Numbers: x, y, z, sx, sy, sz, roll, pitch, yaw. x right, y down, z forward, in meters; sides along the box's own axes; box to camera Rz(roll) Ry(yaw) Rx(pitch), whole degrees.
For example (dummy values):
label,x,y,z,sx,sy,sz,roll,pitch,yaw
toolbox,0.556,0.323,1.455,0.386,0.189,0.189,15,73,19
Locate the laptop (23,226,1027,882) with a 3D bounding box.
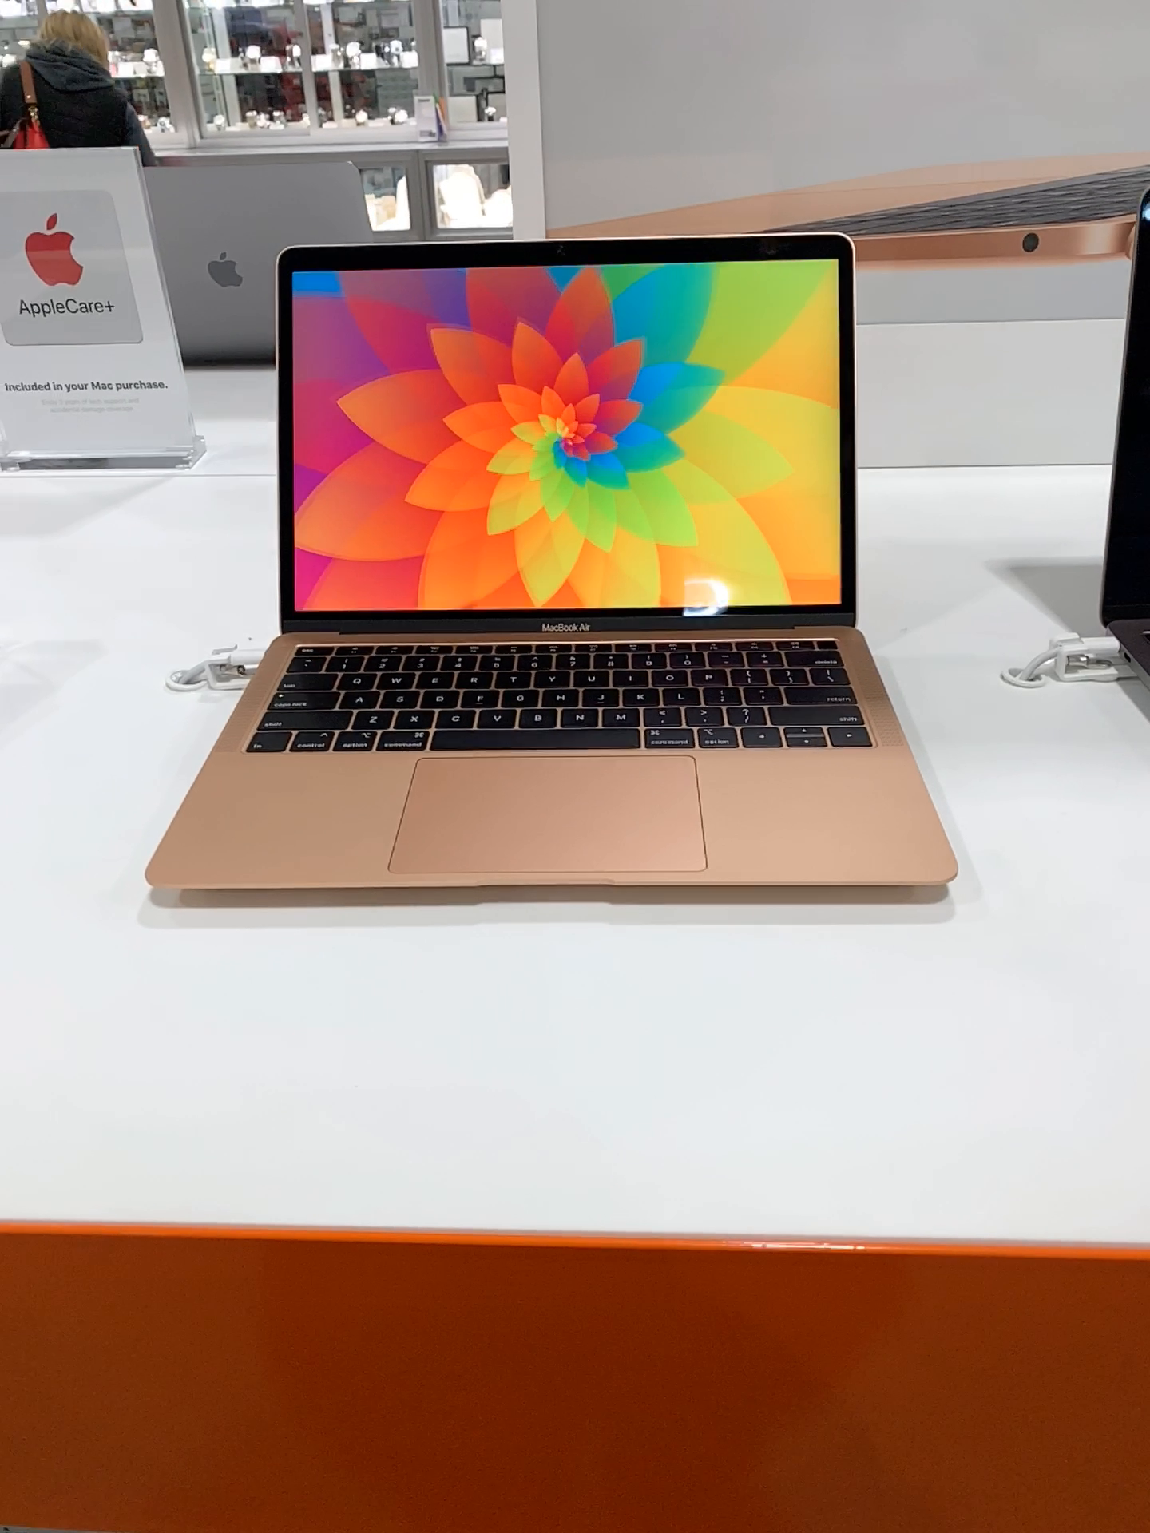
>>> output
label,x,y,z,sx,sy,sz,roll,pitch,yaw
laptop,-0.010,-0.116,0.518,0.293,0.170,0.311,-1,32,2
